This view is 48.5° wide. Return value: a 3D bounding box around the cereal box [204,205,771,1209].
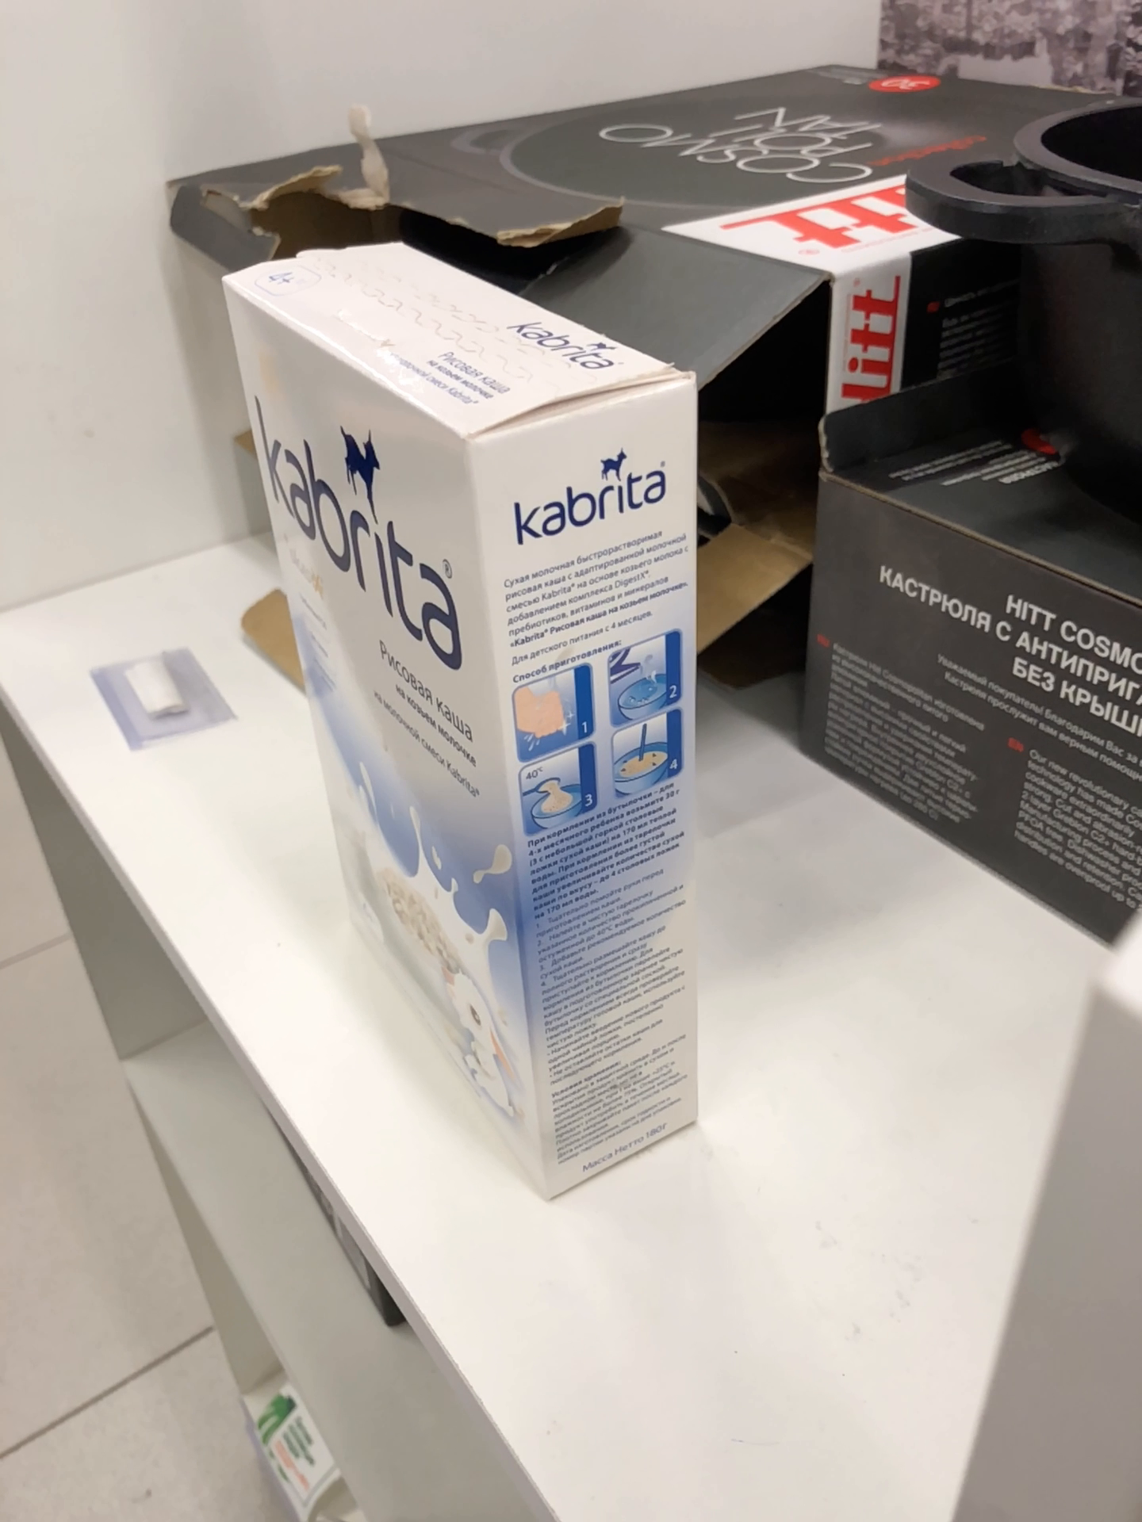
[{"bbox_3d":[-0.020,-0.015,0.324,0.060,0.209,0.141,-21,39,-23],"label":"cereal box"}]
